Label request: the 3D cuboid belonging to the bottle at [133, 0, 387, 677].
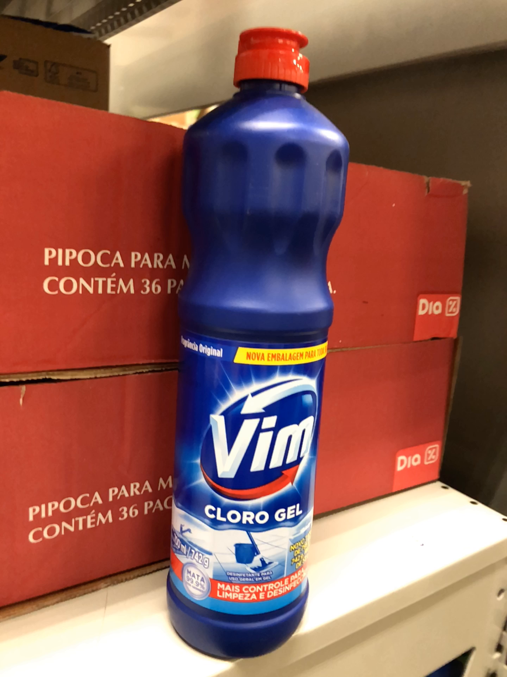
[{"bbox_3d":[-0.007,0.004,0.214,0.070,0.229,0.060,-2,14,-17],"label":"bottle"}]
